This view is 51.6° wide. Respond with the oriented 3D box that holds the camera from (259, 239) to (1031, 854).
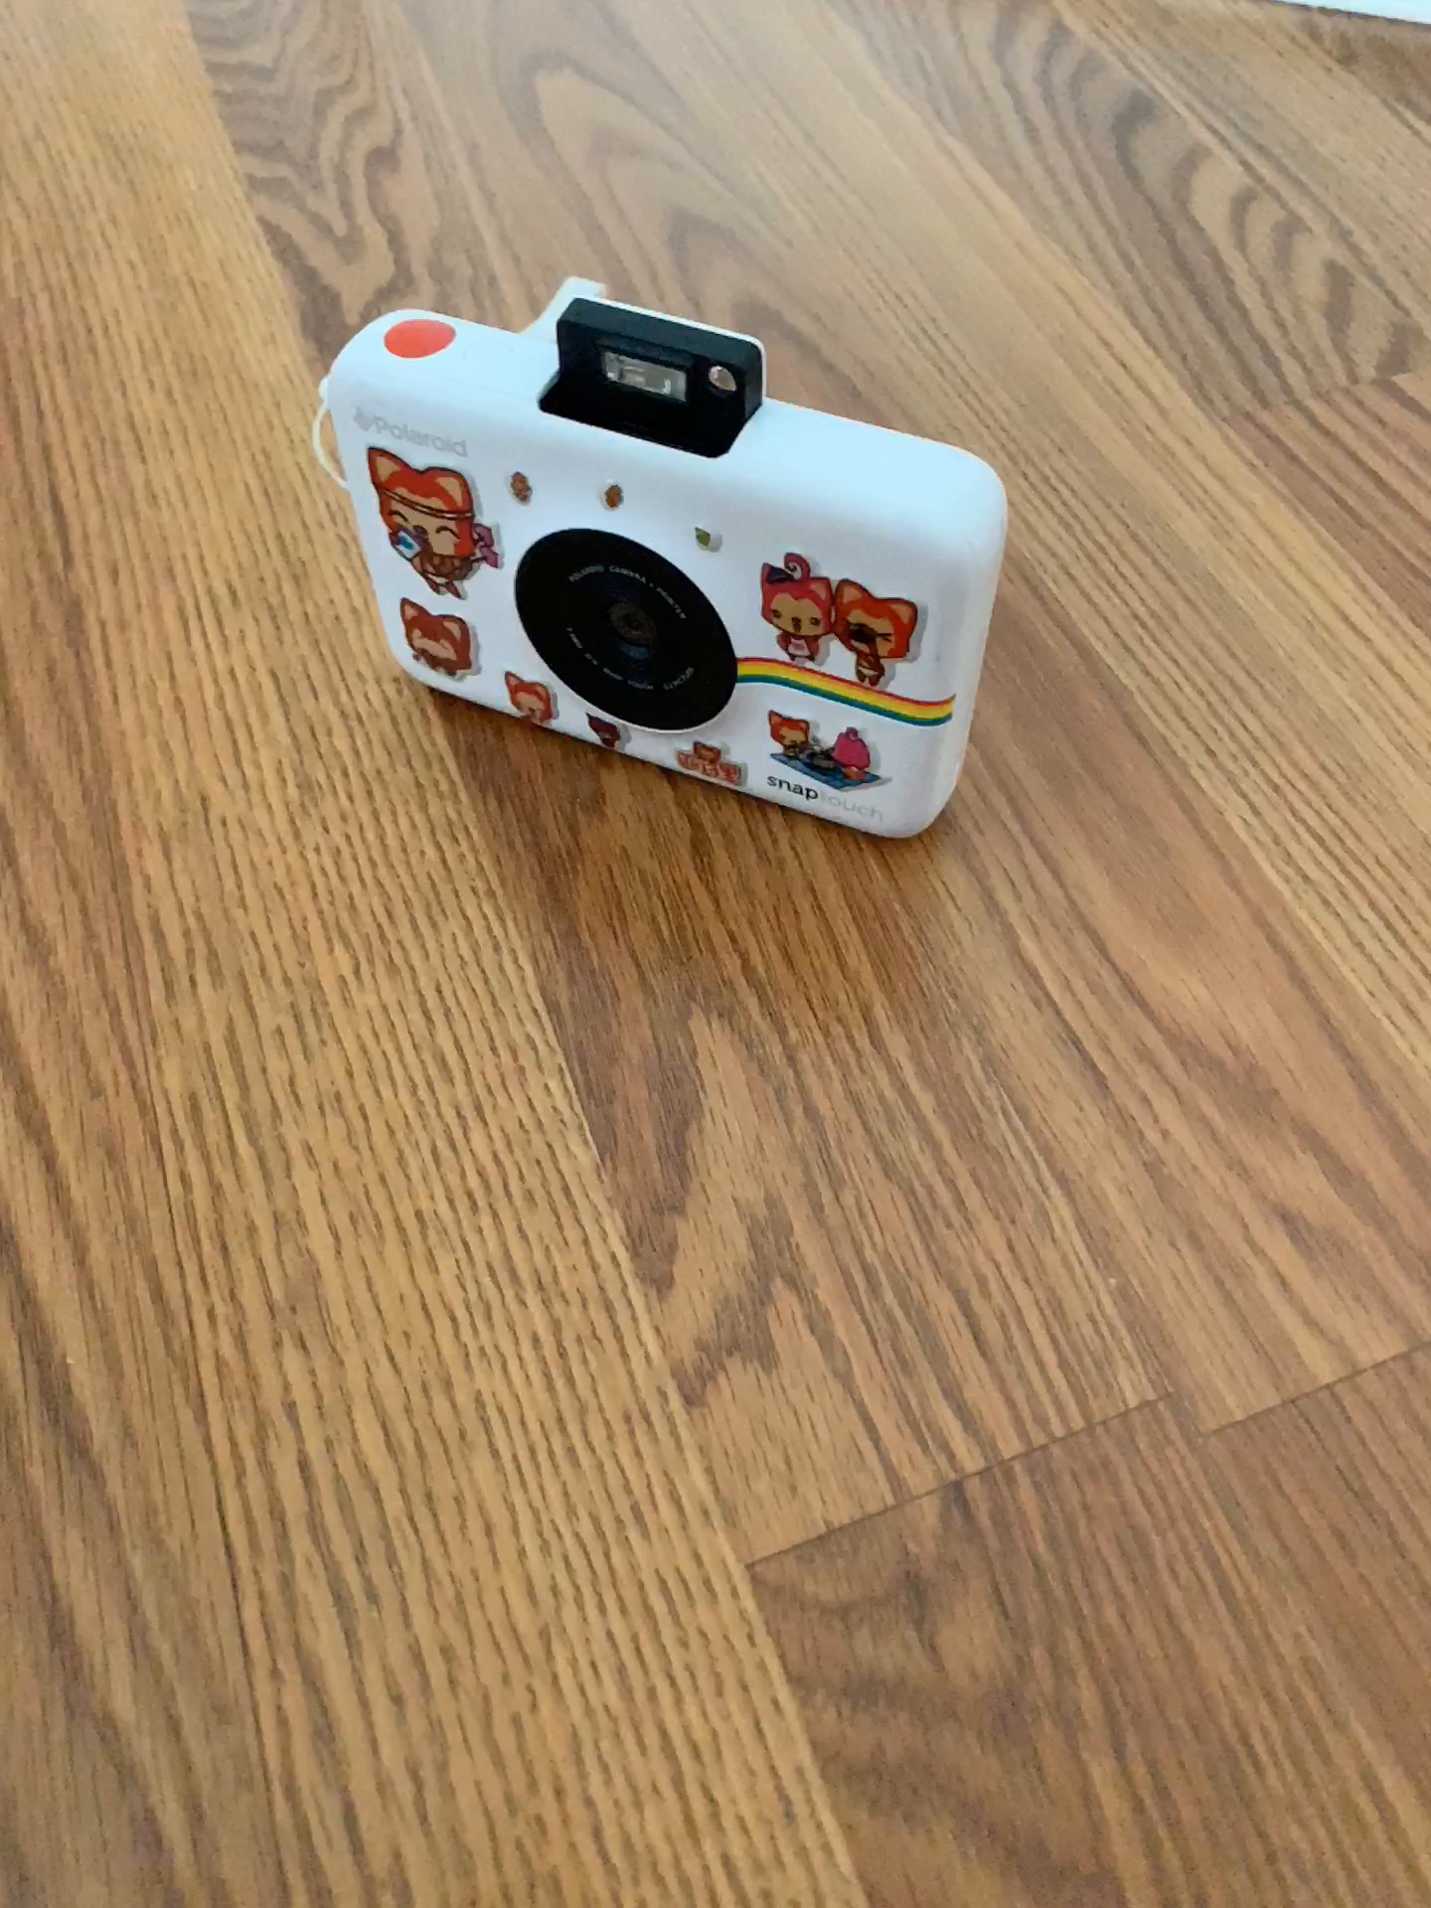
[{"bbox_3d":[-0.013,-0.073,0.270,0.125,0.081,0.026,20,57,15],"label":"camera"}]
